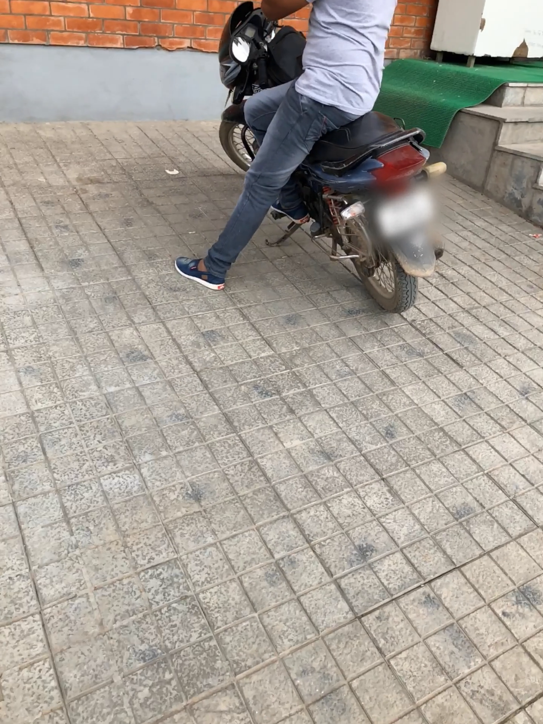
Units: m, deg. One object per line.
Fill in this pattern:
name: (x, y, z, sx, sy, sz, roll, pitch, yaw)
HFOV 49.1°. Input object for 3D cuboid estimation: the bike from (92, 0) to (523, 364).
bike: (-0.070, -1.152, 2.699, 0.814, 1.344, 1.826, -13, 39, -26)
